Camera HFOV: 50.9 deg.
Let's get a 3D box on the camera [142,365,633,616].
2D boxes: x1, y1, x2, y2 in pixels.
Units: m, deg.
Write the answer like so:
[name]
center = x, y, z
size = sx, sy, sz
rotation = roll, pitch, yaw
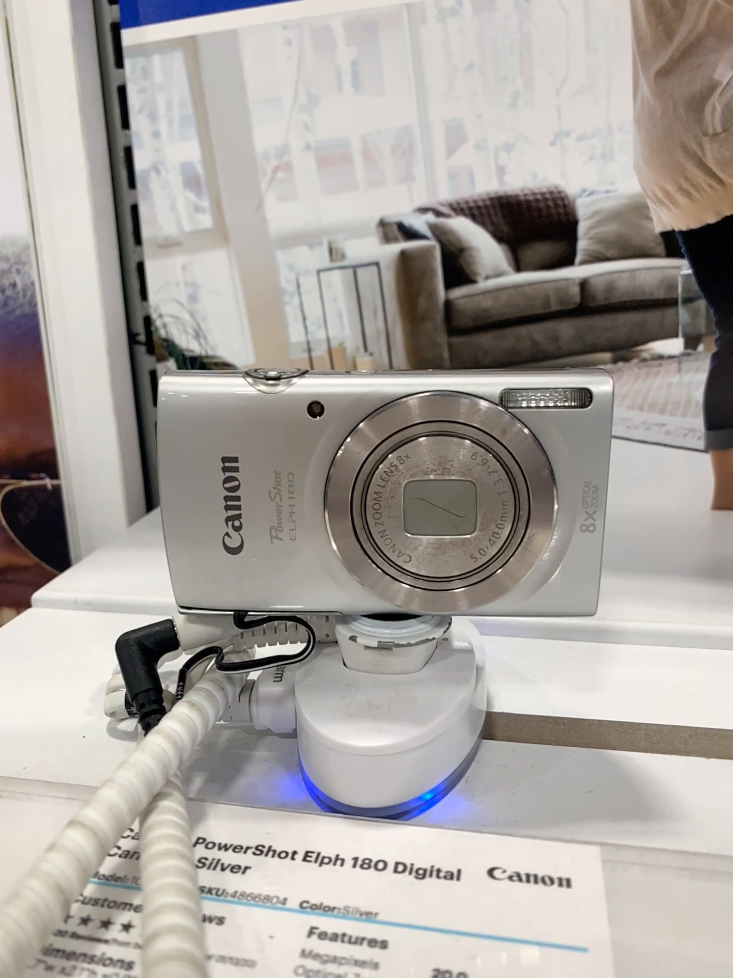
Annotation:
[camera]
center = 0.004, 0.000, 0.173
size = 0.098, 0.051, 0.022
rotation = 0, 21, 4
